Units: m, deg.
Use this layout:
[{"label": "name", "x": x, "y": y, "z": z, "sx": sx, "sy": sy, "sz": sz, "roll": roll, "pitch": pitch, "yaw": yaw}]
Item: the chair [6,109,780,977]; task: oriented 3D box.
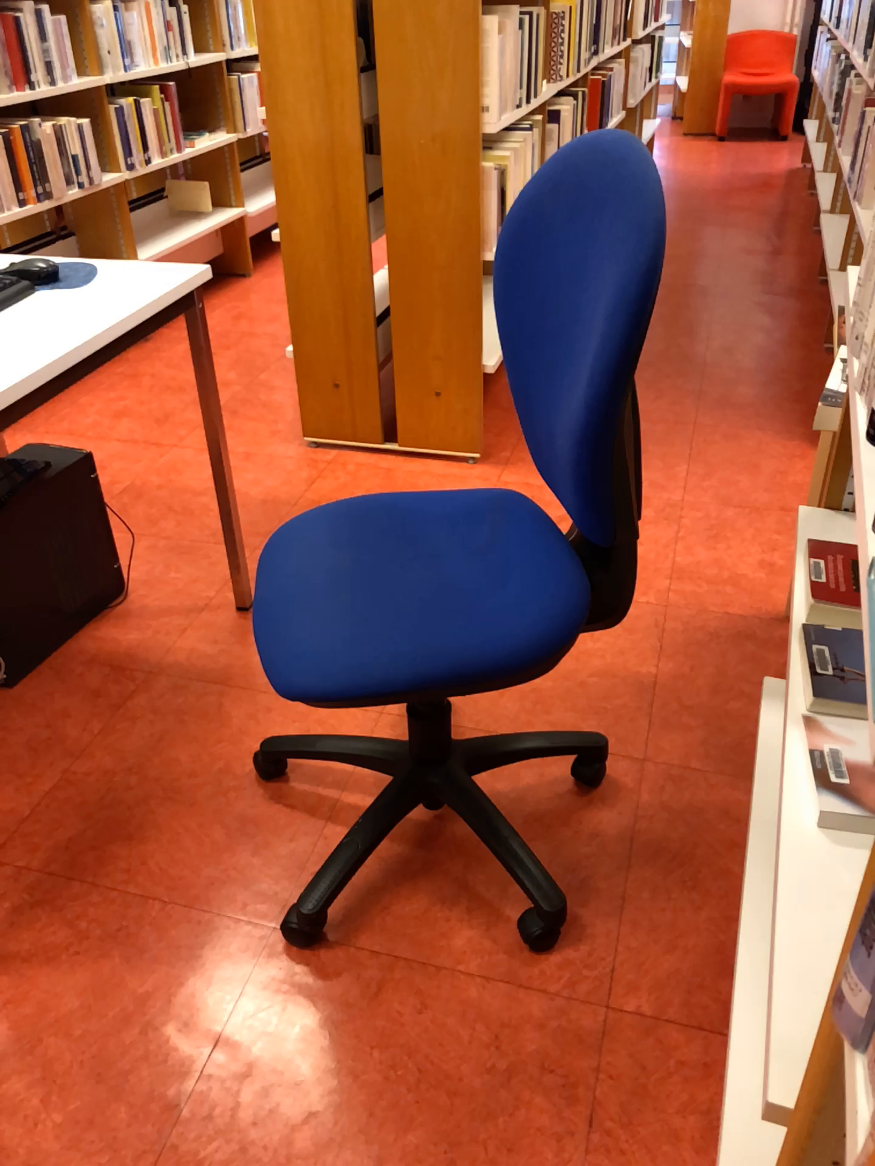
[{"label": "chair", "x": -0.047, "y": -0.079, "z": 1.288, "sx": 0.620, "sy": 0.914, "sz": 0.664, "roll": -4, "pitch": 33, "yaw": -4}]
